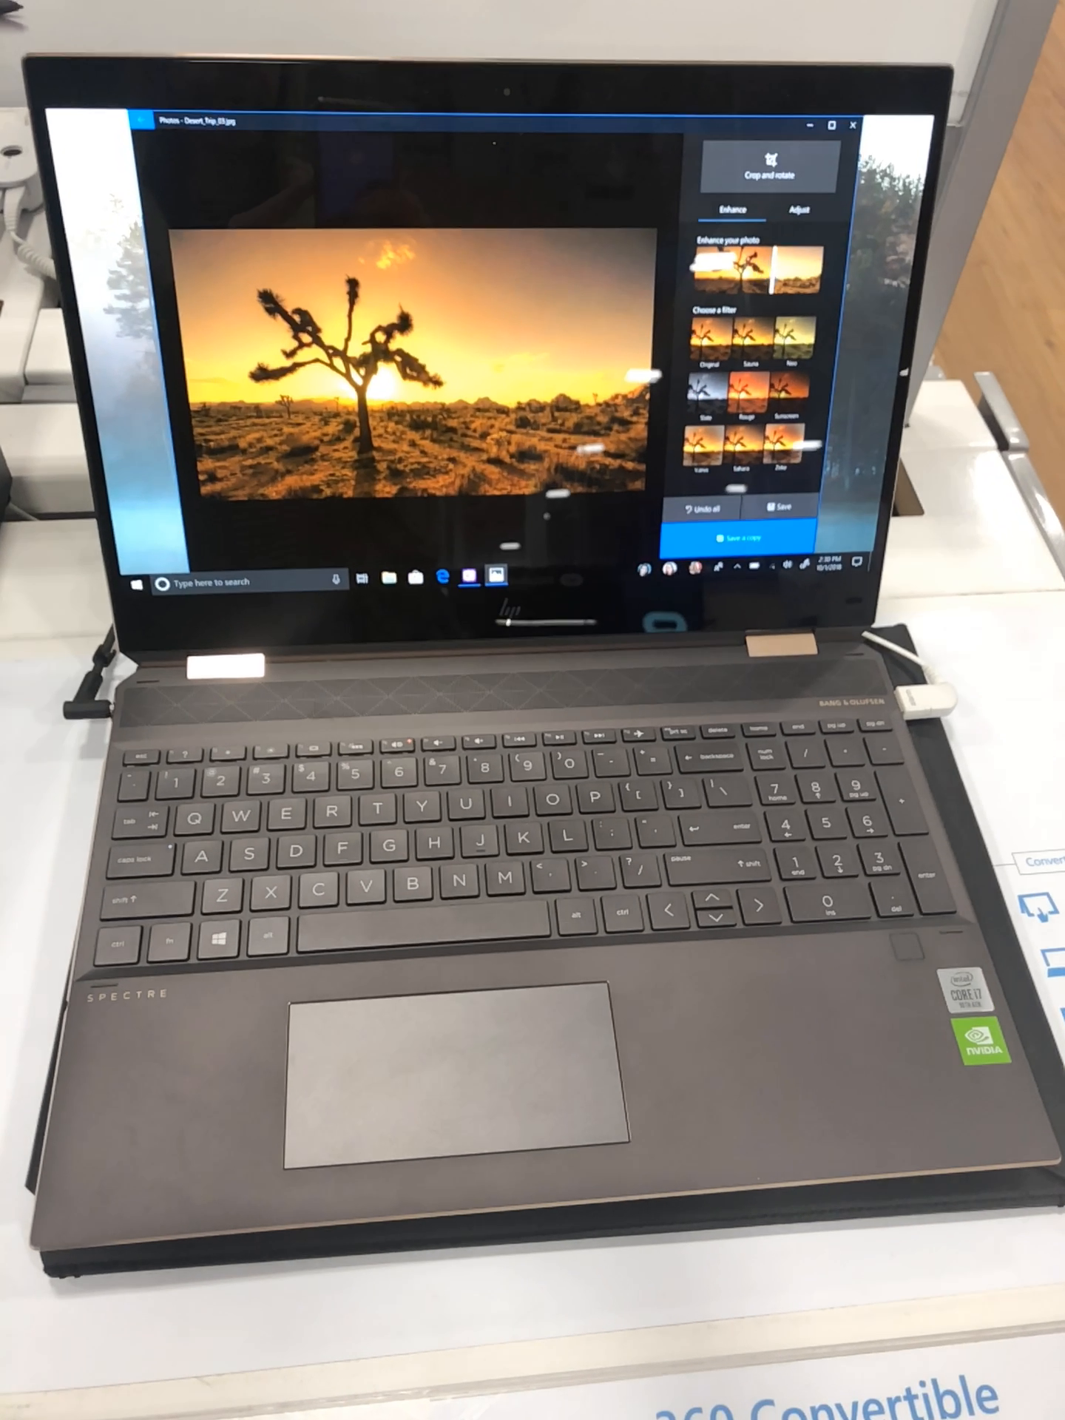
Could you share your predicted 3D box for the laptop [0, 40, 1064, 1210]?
[{"bbox_3d":[-0.005,-0.050,0.434,0.348,0.209,0.360,-3,54,-6],"label":"laptop"}]
